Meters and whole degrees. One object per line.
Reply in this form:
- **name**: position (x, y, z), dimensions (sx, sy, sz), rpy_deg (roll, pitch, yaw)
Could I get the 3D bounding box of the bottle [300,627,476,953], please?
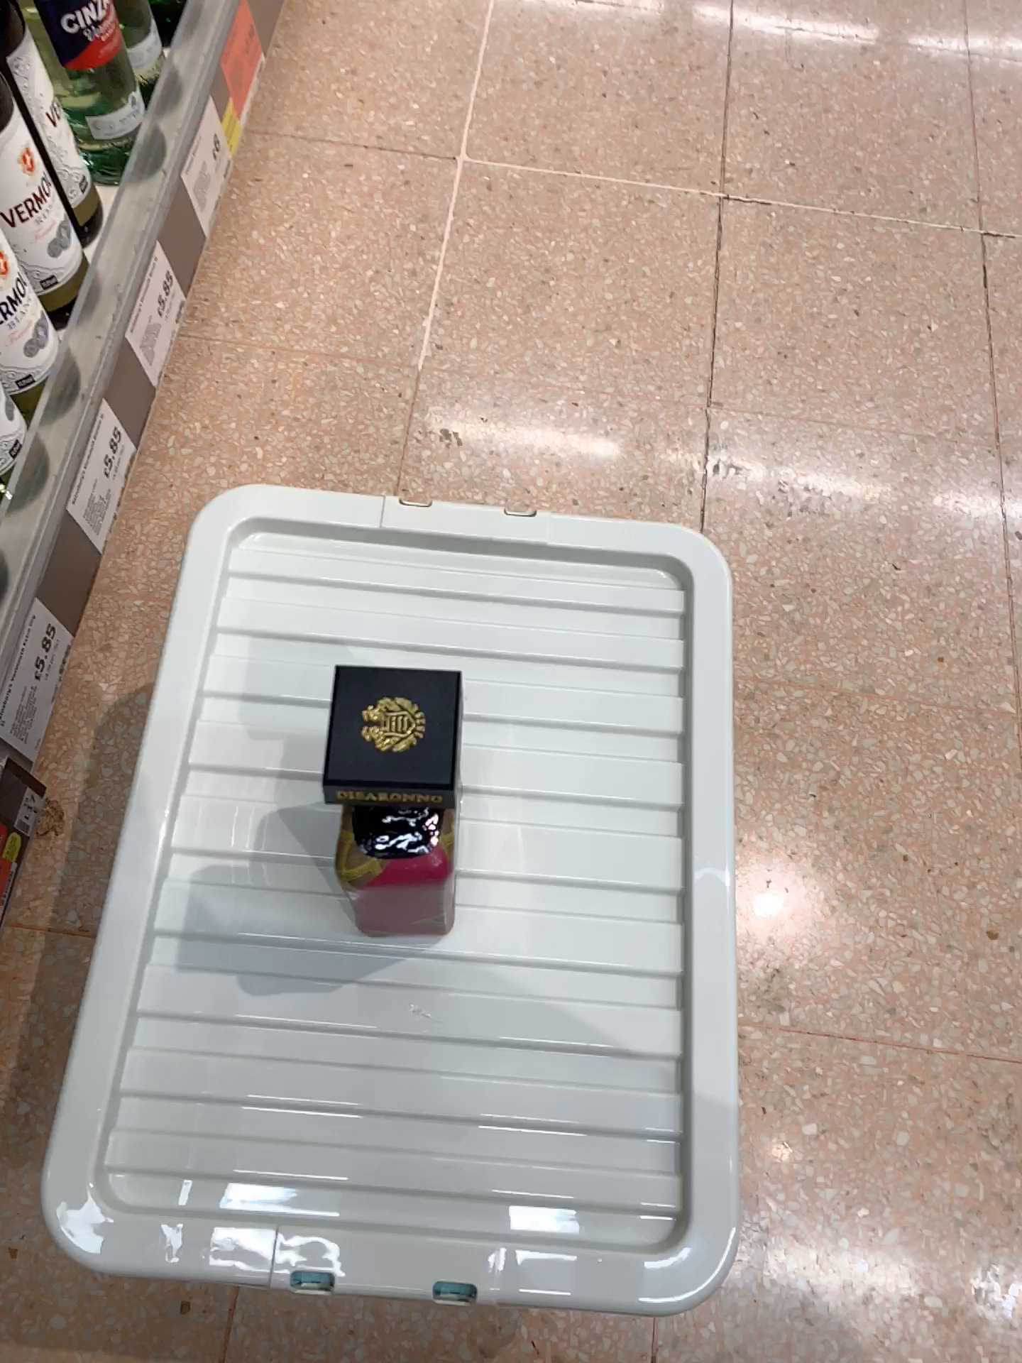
- **bottle**: position (-0.052, 0.064, 0.501), dimensions (0.060, 0.199, 0.101), rpy_deg (3, 67, -2)
